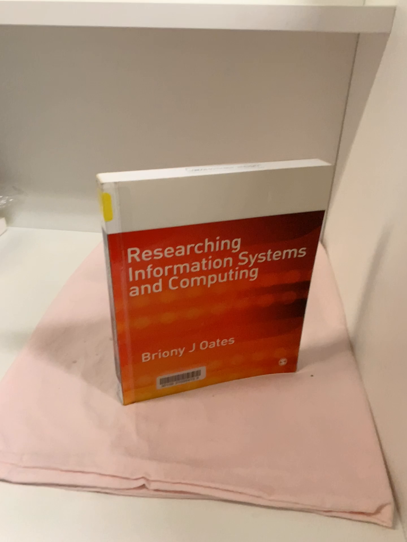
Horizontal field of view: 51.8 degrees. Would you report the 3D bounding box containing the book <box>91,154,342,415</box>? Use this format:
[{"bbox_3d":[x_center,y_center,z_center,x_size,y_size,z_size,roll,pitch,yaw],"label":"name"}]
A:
[{"bbox_3d":[0.012,0.020,0.391,0.201,0.238,0.026,-8,33,-17],"label":"book"}]
